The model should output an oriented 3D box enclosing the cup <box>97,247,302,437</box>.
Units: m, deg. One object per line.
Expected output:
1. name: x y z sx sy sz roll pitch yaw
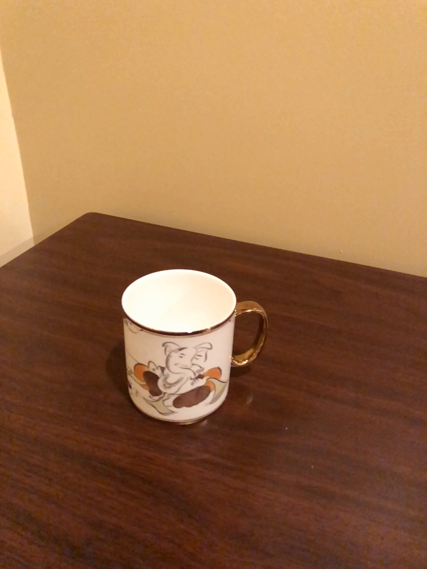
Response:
1. cup: -0.018 0.041 0.395 0.140 0.099 0.100 -6 32 -16
